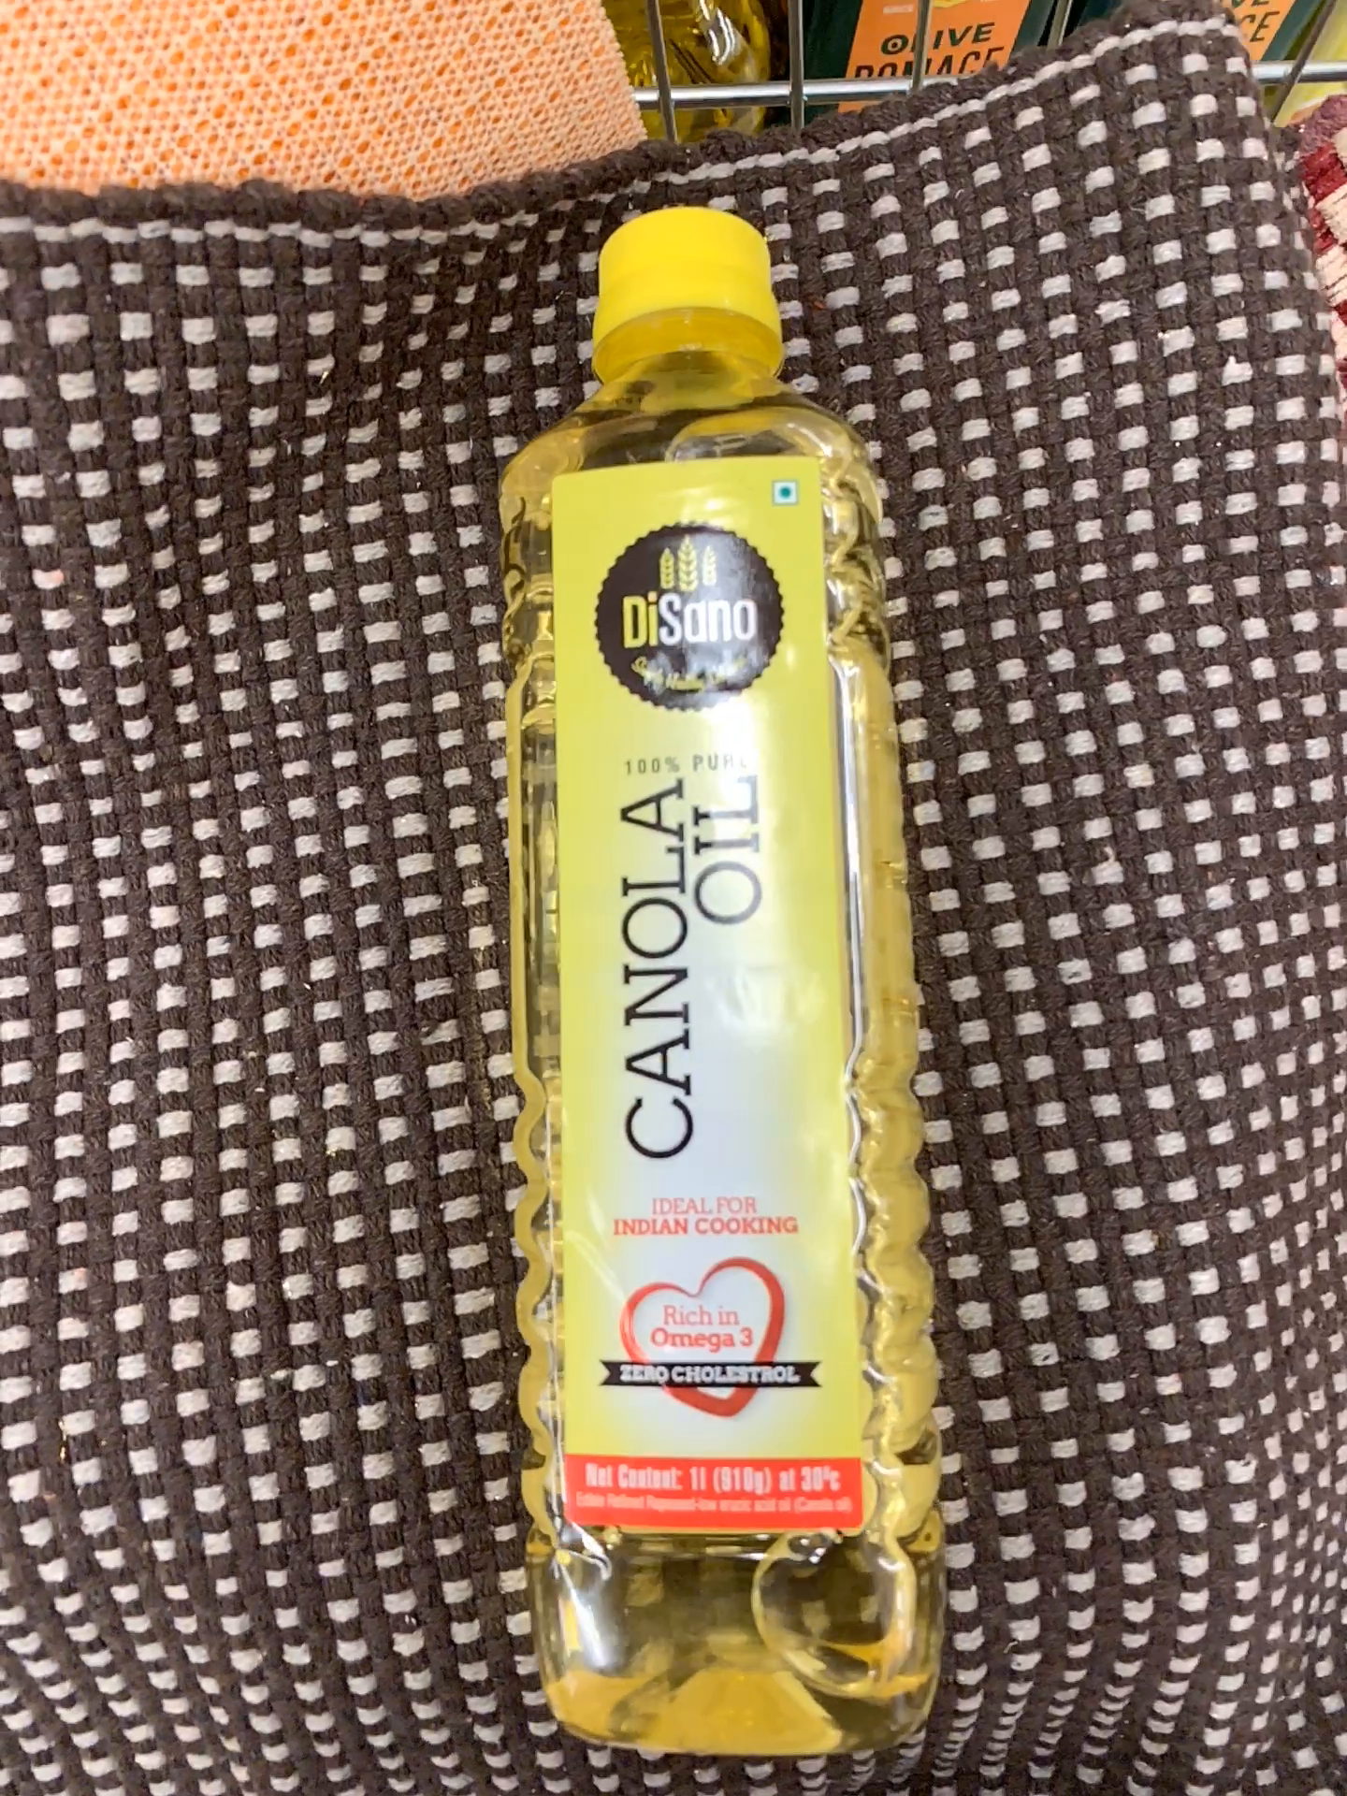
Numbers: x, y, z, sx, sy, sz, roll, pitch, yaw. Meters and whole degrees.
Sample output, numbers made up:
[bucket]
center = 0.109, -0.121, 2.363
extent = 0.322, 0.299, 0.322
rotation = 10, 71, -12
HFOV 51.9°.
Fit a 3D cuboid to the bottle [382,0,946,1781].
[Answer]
[bottle]
center = 0.000, -0.013, 0.217
extent = 0.070, 0.060, 0.250
rotation = -2, 82, 8
